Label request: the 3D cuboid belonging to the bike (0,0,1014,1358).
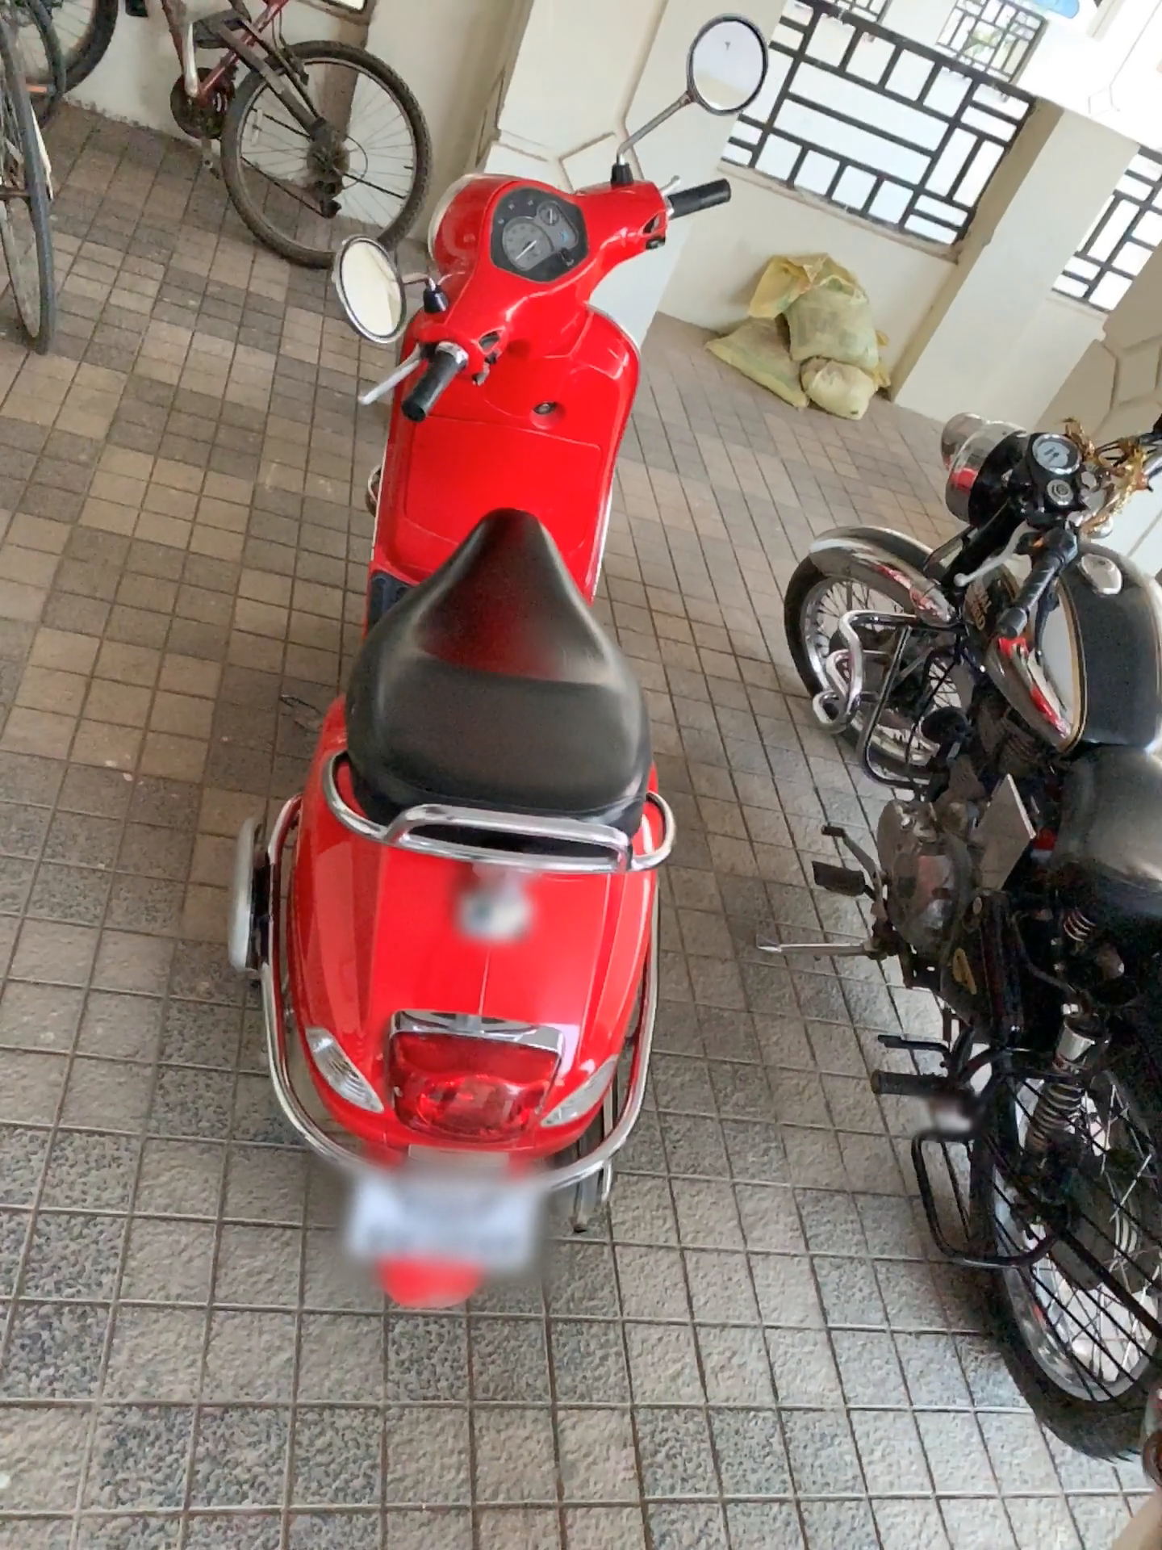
[{"bbox_3d":[-0.350,-0.239,1.728,0.681,1.262,1.554,9,43,-22],"label":"bike"}]
